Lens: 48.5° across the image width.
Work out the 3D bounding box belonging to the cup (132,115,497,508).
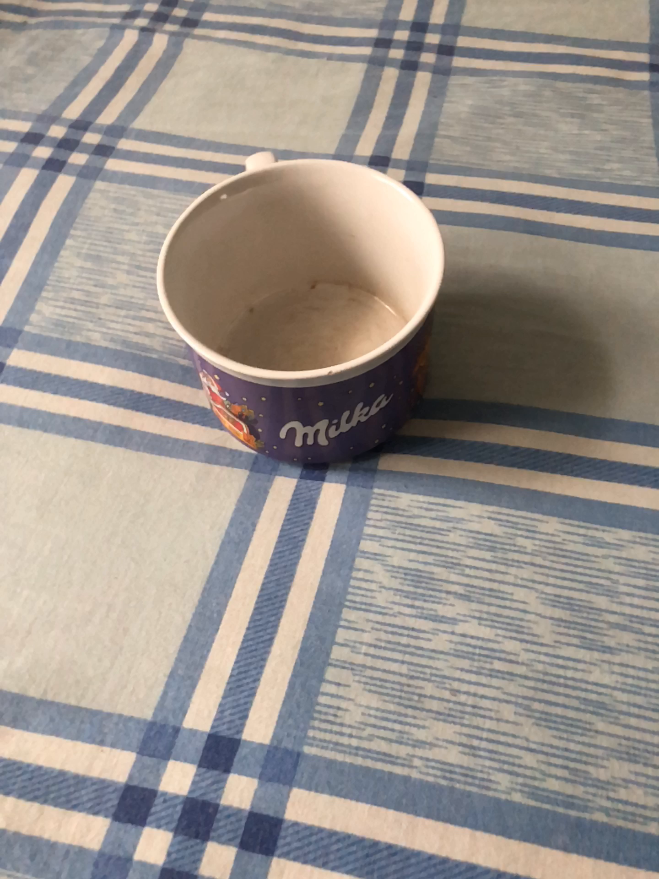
[{"bbox_3d":[-0.012,-0.055,0.292,0.104,0.063,0.130,-13,56,-7],"label":"cup"}]
